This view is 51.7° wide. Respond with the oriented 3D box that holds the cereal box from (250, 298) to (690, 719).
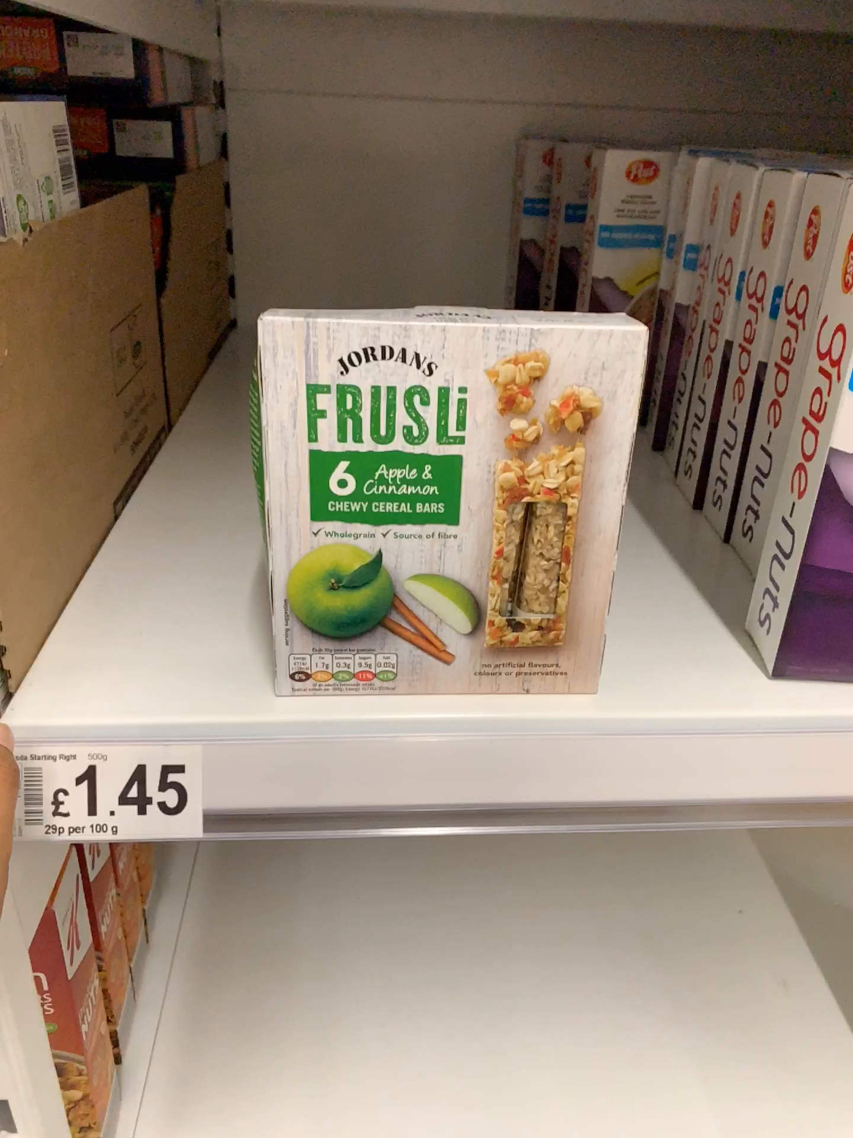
[{"bbox_3d":[0.011,-0.021,0.355,0.150,0.159,0.050,0,27,-5],"label":"cereal box"}]
